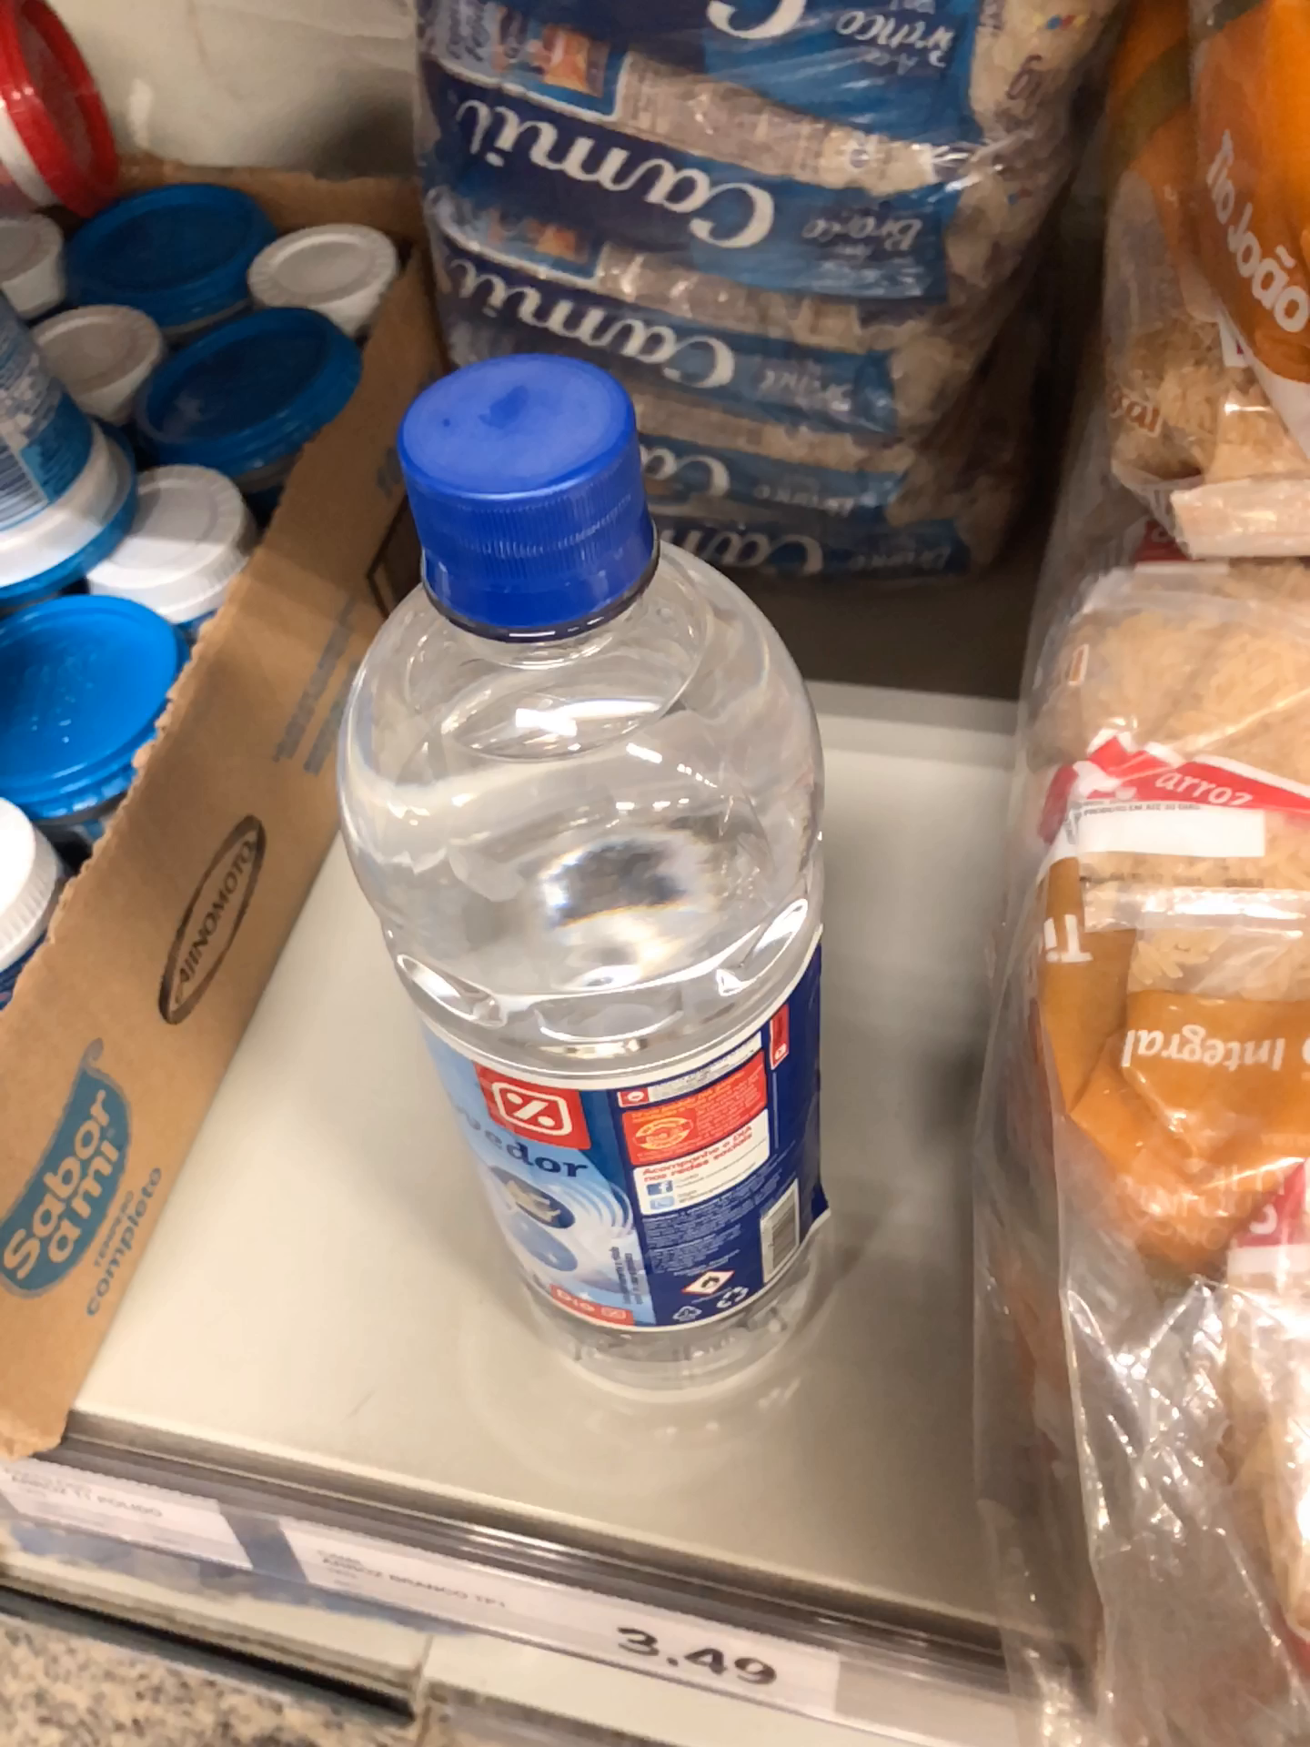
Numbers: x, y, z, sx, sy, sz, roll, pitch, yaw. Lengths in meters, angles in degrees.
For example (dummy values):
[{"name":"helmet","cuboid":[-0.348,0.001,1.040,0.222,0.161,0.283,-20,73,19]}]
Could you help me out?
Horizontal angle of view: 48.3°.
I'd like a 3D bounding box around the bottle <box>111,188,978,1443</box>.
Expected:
[{"name":"bottle","cuboid":[-0.005,0.023,0.280,0.090,0.259,0.080,-16,55,-3]}]
